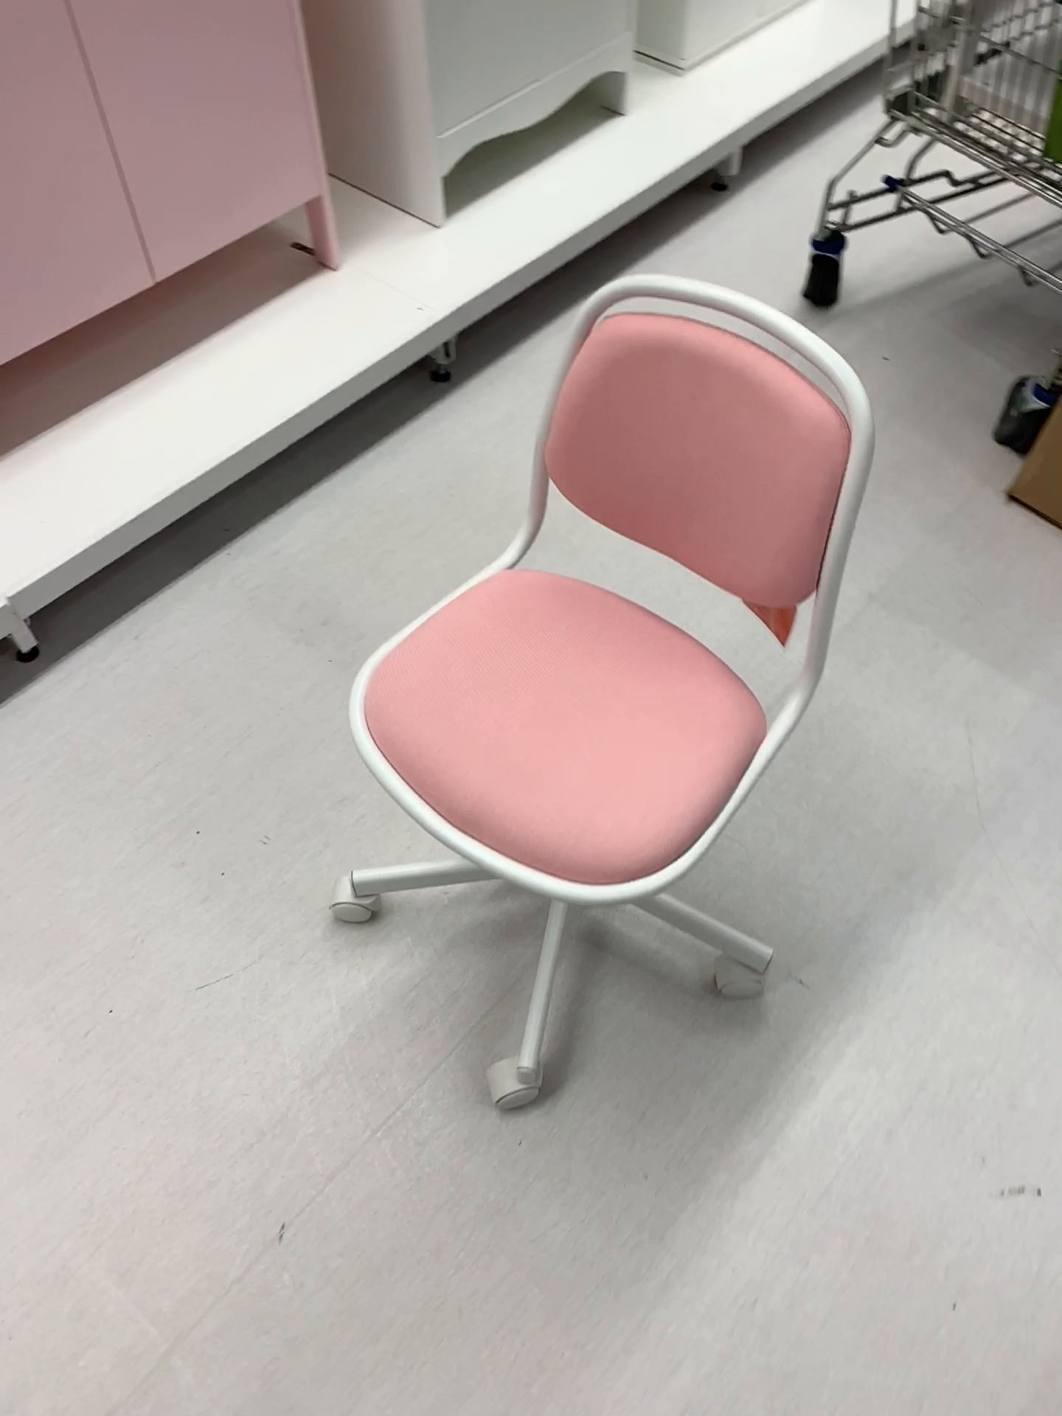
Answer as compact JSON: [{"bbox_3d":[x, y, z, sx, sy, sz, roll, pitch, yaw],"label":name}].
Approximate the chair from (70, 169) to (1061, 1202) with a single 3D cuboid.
[{"bbox_3d":[0.050,0.004,1.081,0.561,0.698,0.531,34,61,22],"label":"chair"}]
